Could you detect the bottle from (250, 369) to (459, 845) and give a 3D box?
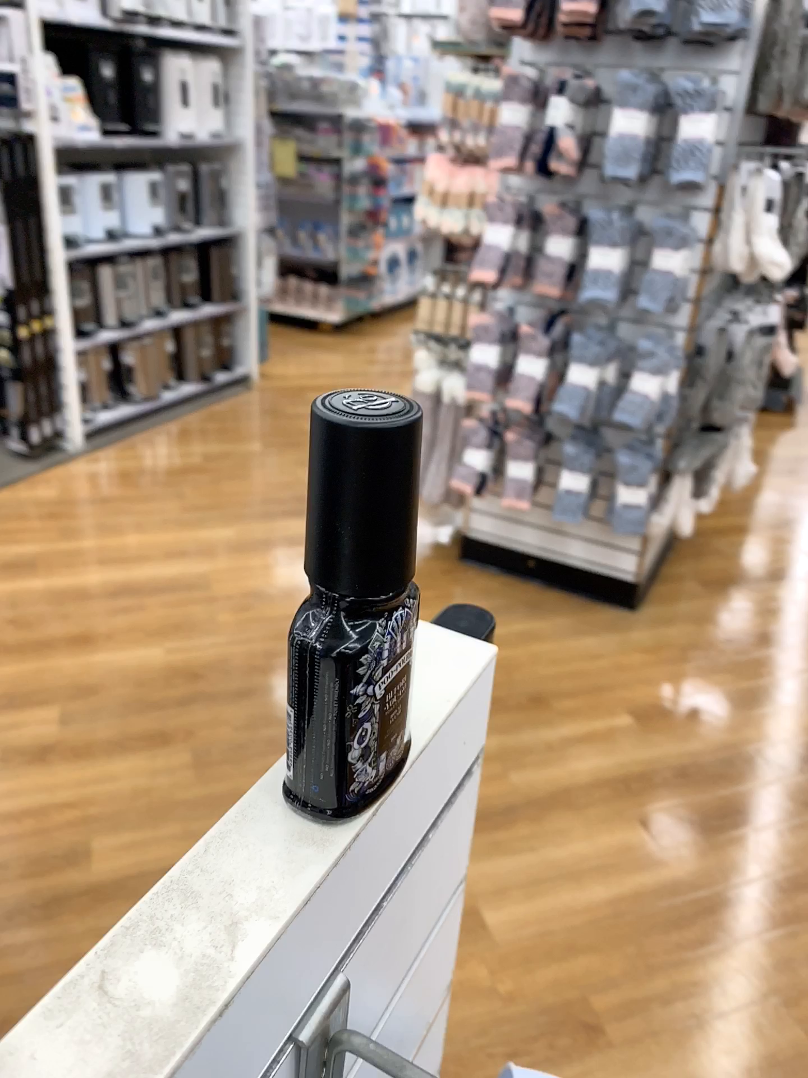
[{"bbox_3d":[-0.015,0.020,0.242,0.032,0.123,0.050,16,29,22],"label":"bottle"}]
